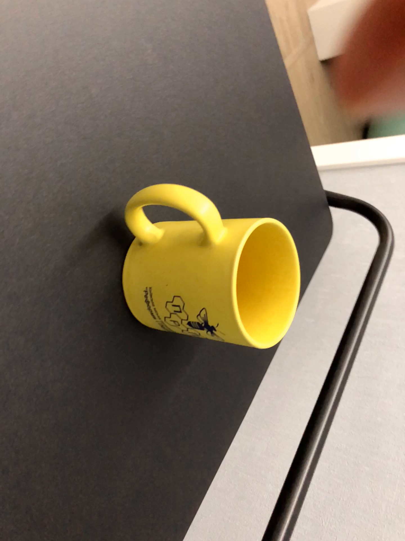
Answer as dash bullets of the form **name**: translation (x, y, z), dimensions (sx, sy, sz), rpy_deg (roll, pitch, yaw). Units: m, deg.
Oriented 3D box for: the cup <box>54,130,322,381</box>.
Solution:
- **cup**: translation (-0.001, -0.006, 0.295), dimensions (0.126, 0.101, 0.090), rpy_deg (52, 54, -40)
